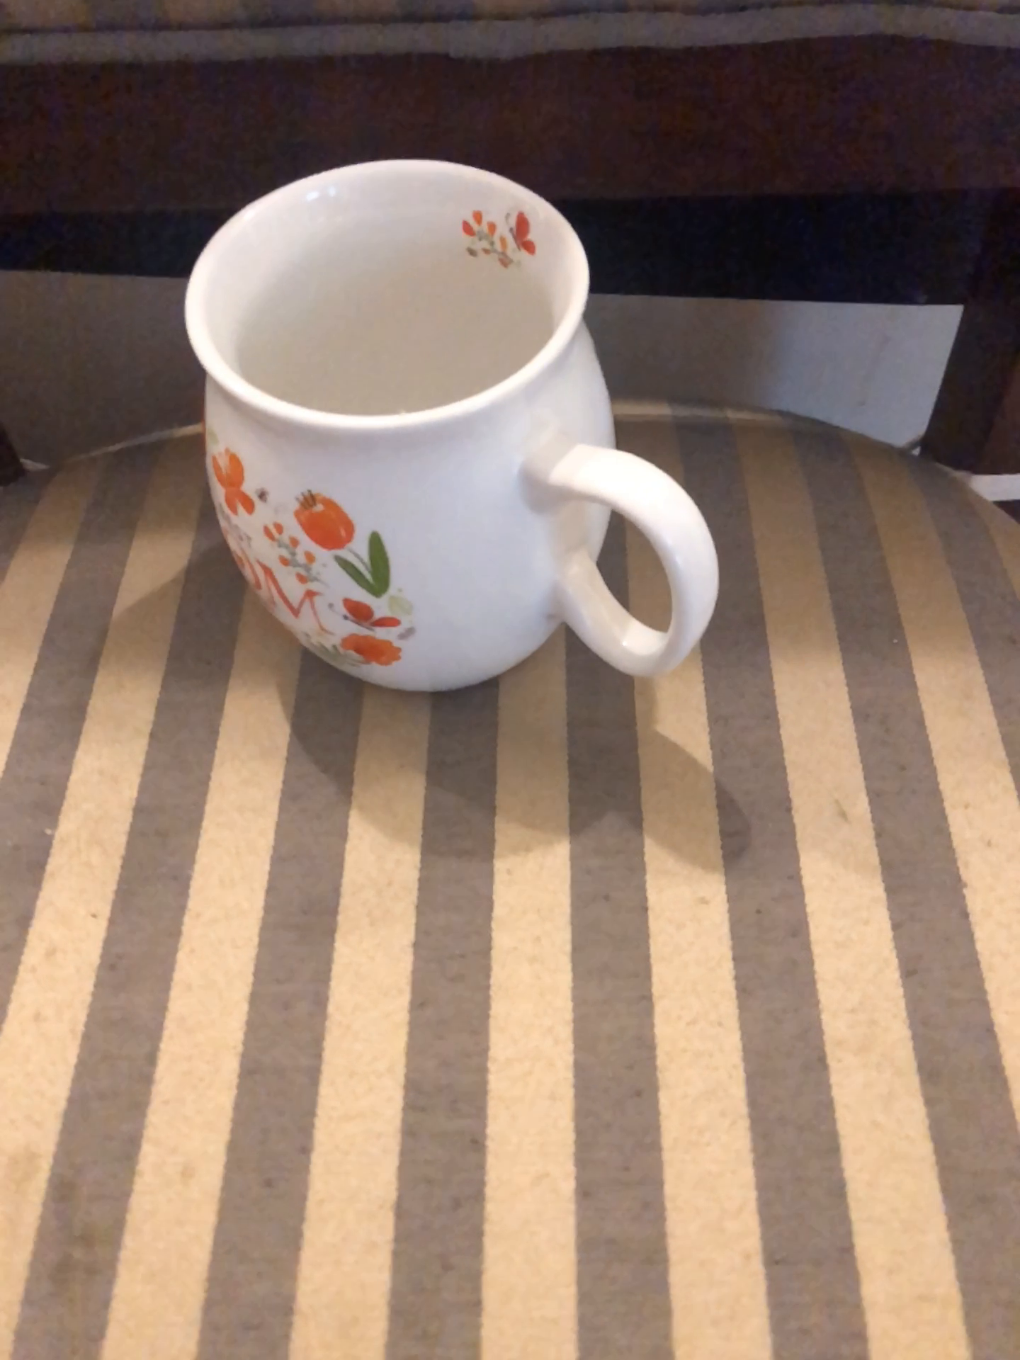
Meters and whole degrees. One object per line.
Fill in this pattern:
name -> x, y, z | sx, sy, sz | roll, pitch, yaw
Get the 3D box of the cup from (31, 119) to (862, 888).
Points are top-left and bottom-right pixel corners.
cup -> -0.014, -0.049, 0.275 | 0.140, 0.090, 0.110 | 34, 62, 25
